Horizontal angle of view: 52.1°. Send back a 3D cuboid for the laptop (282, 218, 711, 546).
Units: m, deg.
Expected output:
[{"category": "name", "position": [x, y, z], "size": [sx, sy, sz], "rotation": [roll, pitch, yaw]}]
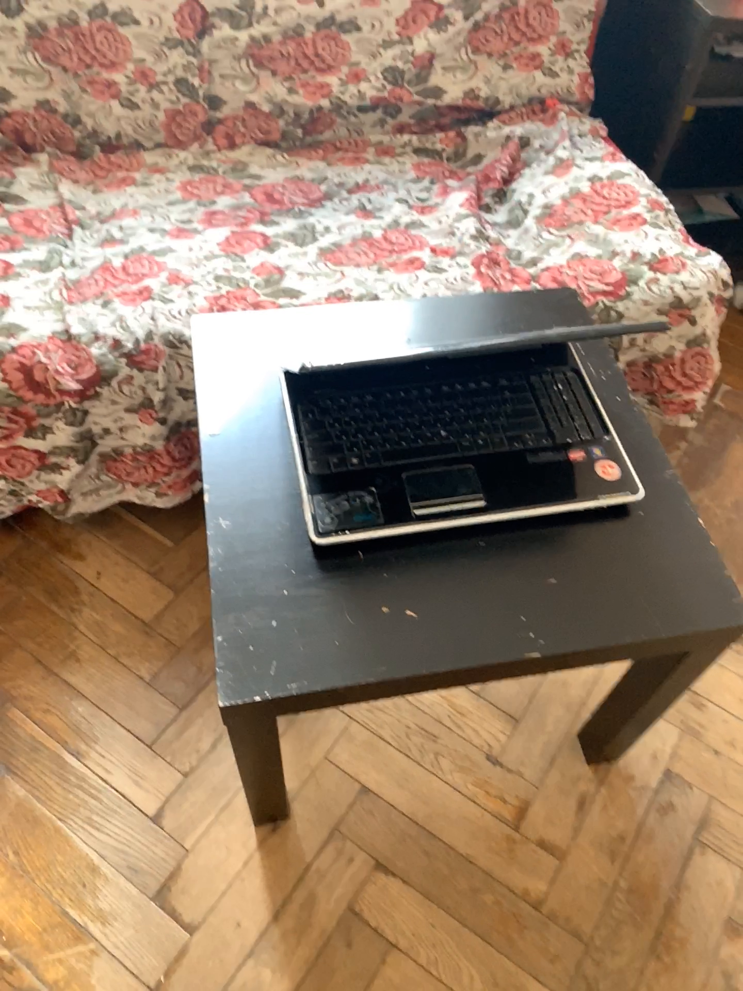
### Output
[{"category": "laptop", "position": [0.105, -0.128, 0.813], "size": [0.365, 0.177, 0.252], "rotation": [-8, 55, -10]}]
